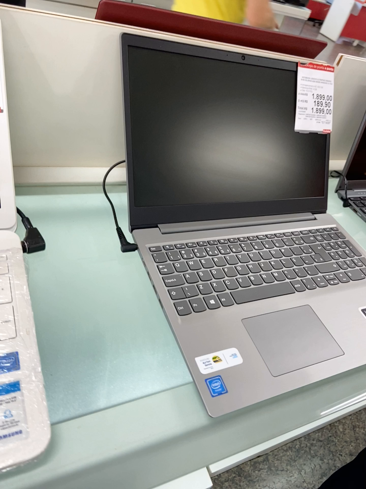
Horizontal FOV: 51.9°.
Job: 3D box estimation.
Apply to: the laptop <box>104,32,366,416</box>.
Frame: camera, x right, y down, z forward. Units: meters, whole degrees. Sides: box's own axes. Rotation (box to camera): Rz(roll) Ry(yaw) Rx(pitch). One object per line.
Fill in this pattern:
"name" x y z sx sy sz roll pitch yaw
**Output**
"laptop" 0.139 -0.070 0.486 0.368 0.189 0.403 -6 47 -26
